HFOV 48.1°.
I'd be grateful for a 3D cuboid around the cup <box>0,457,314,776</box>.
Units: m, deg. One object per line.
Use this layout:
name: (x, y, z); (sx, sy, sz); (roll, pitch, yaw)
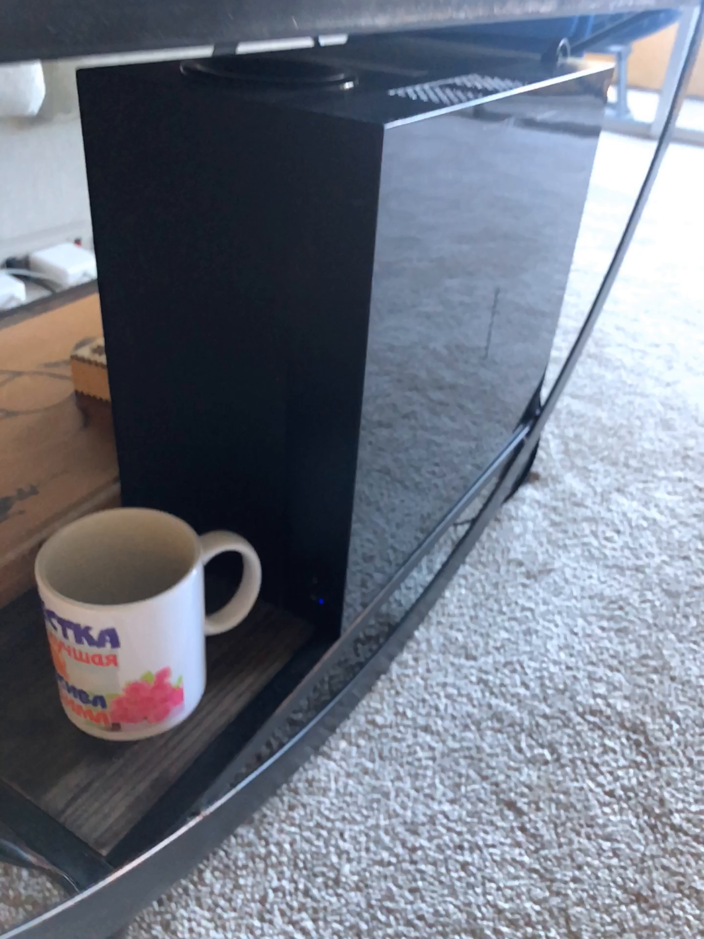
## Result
cup: (-0.107, 0.075, 0.443); (0.140, 0.100, 0.090); (-18, 40, -32)
